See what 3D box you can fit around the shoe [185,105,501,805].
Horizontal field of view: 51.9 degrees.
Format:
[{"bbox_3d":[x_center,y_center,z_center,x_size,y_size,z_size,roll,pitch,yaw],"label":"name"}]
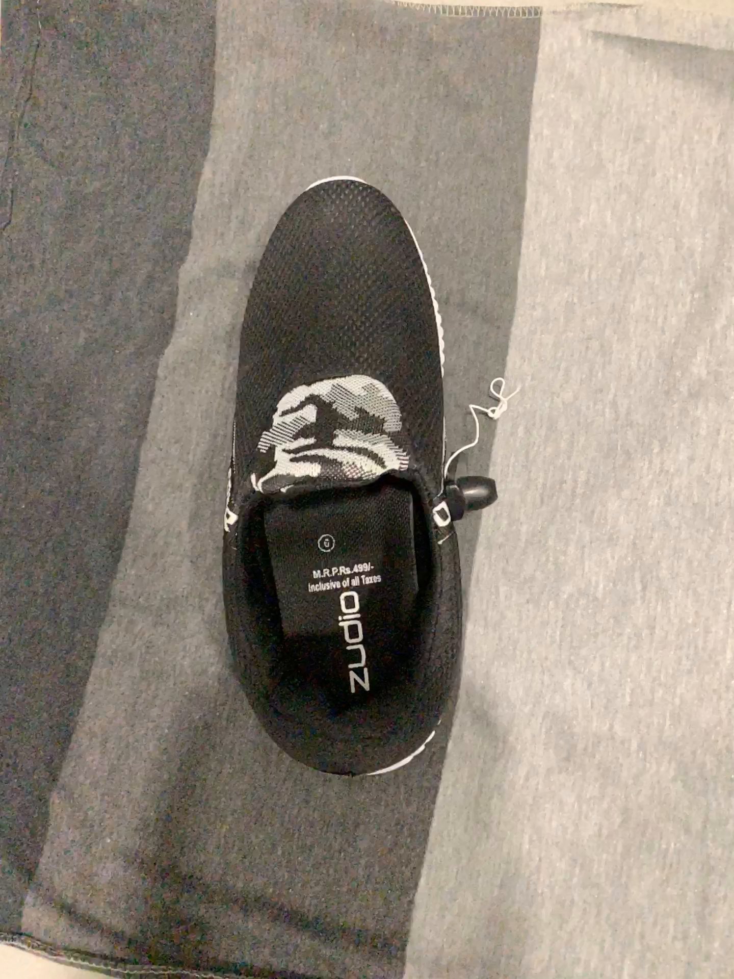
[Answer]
[{"bbox_3d":[-0.009,-0.011,0.308,0.100,0.100,0.240,-3,80,5],"label":"shoe"}]
